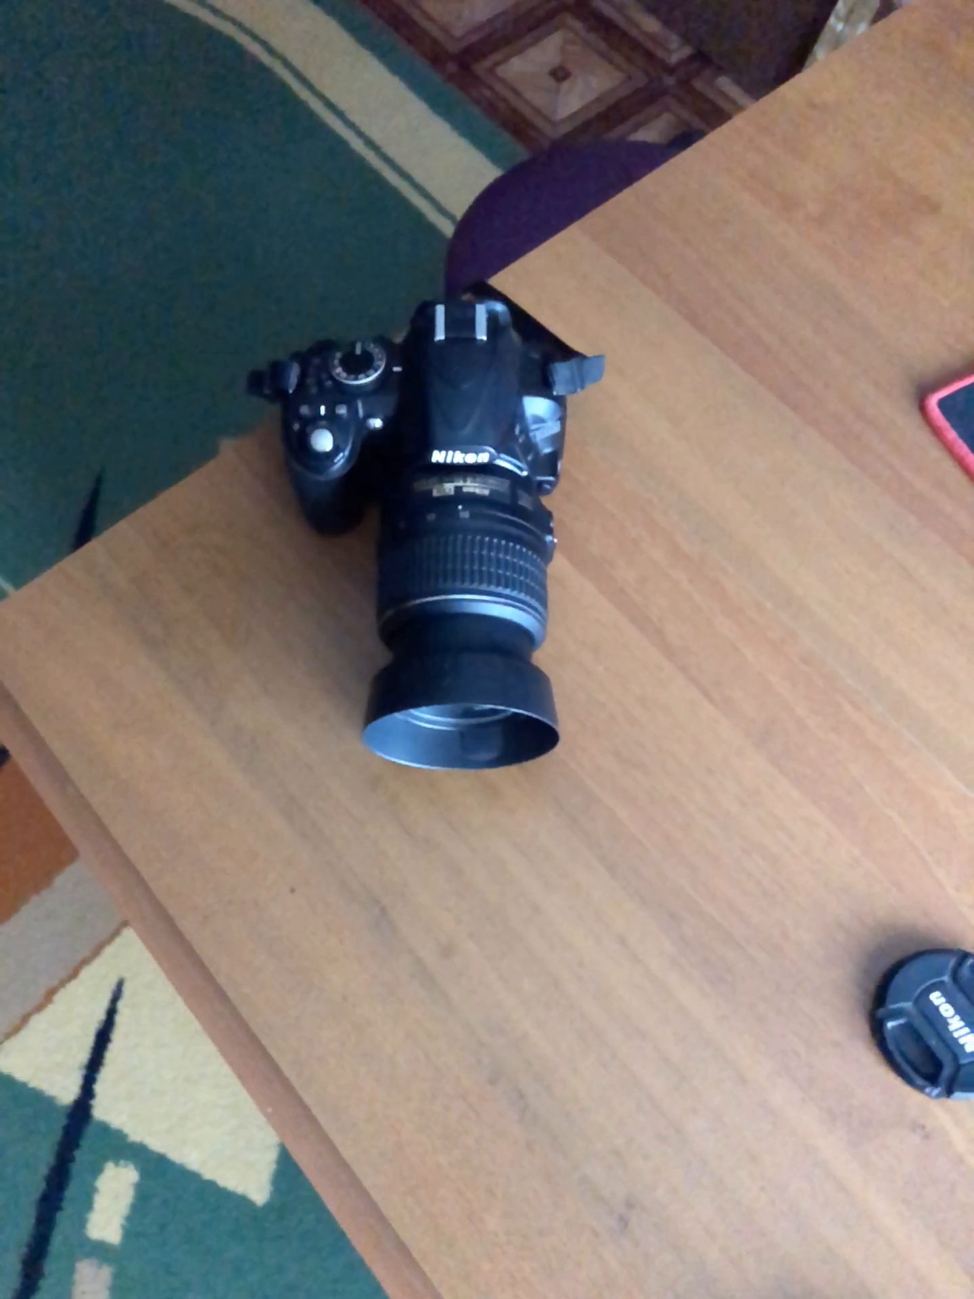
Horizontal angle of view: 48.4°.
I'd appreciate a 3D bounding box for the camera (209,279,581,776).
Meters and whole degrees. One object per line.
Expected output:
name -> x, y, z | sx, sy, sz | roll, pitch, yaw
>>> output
camera -> -0.029, -0.051, 0.458 | 0.129, 0.092, 0.183 | 2, 67, 2
